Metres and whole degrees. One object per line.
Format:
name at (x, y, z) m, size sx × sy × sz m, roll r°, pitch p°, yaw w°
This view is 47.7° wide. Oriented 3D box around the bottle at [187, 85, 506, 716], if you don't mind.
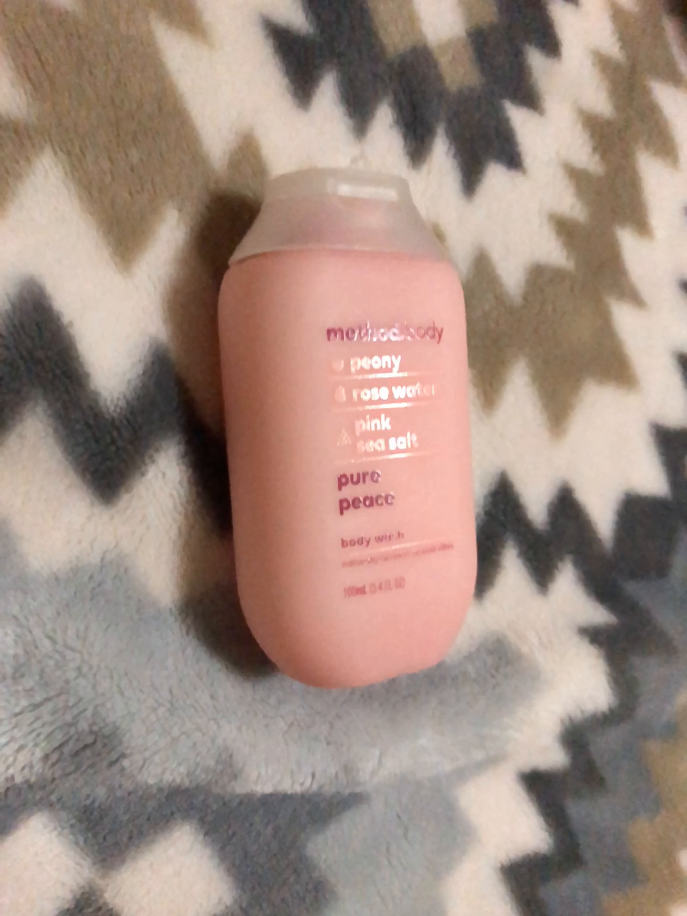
bottle at (0.002, -0.011, 0.163) m, size 0.057 × 0.030 × 0.110 m, roll -4°, pitch 96°, yaw -30°
